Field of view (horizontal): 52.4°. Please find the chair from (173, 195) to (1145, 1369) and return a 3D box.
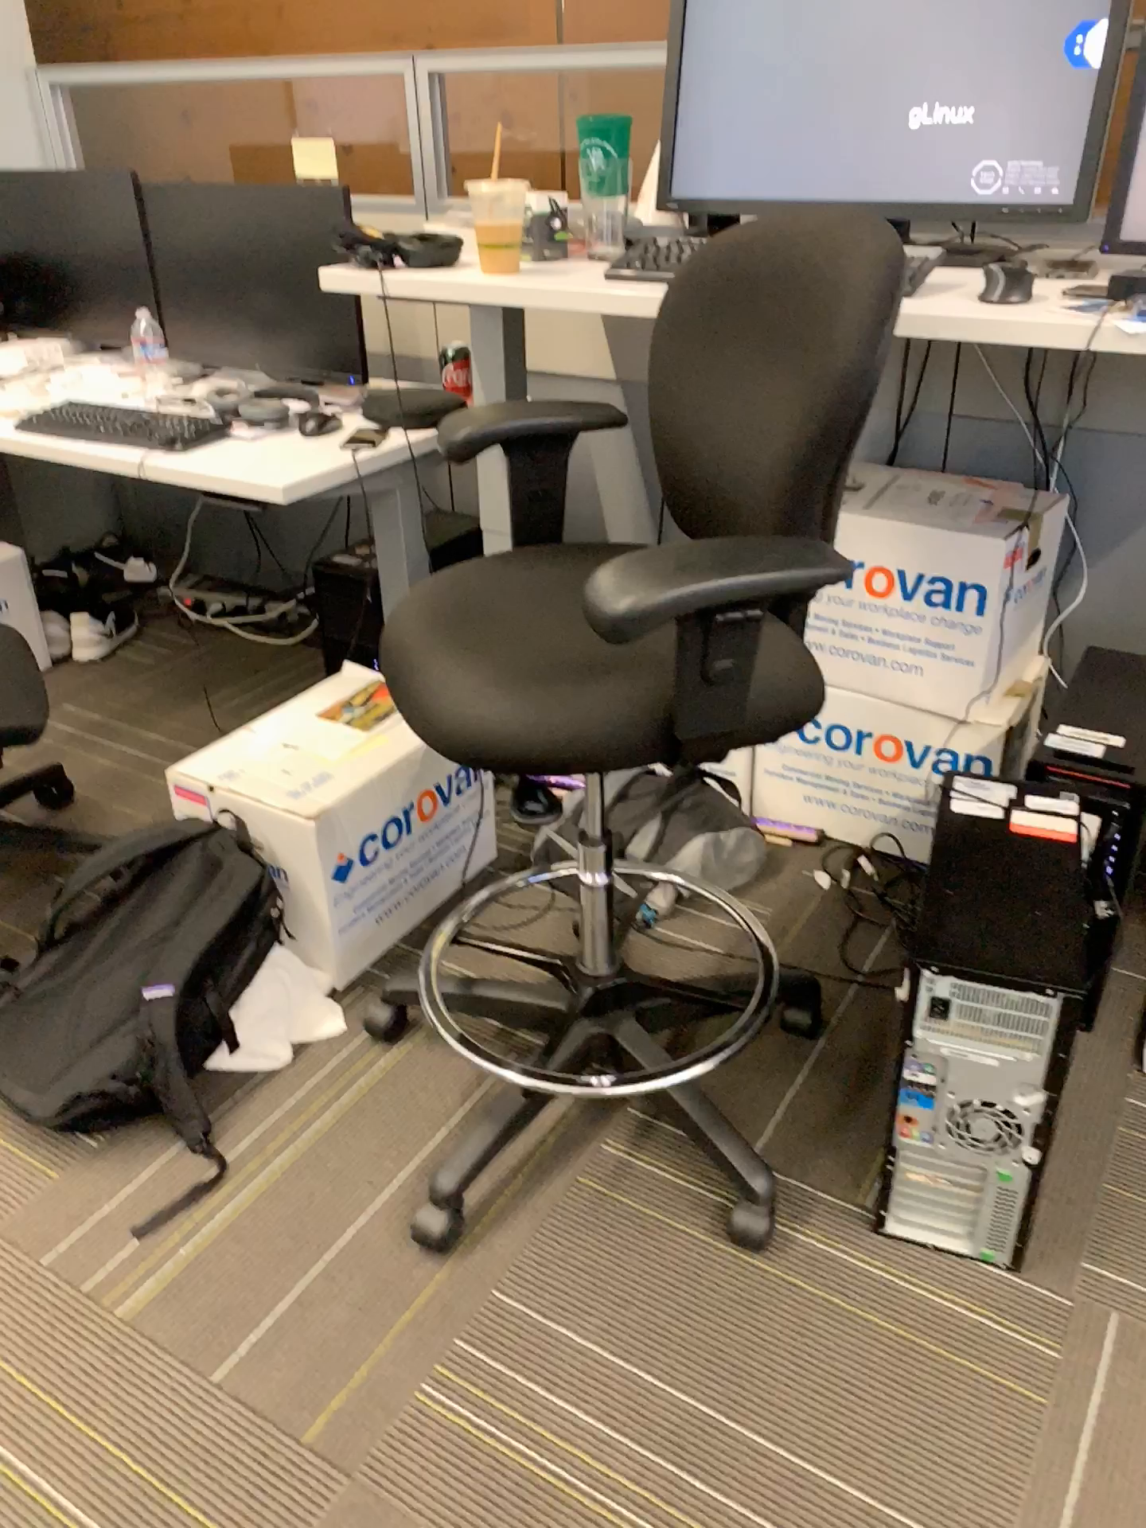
[{"bbox_3d":[0.048,-0.055,1.437,0.770,1.103,0.714,-13,31,-20],"label":"chair"}]
